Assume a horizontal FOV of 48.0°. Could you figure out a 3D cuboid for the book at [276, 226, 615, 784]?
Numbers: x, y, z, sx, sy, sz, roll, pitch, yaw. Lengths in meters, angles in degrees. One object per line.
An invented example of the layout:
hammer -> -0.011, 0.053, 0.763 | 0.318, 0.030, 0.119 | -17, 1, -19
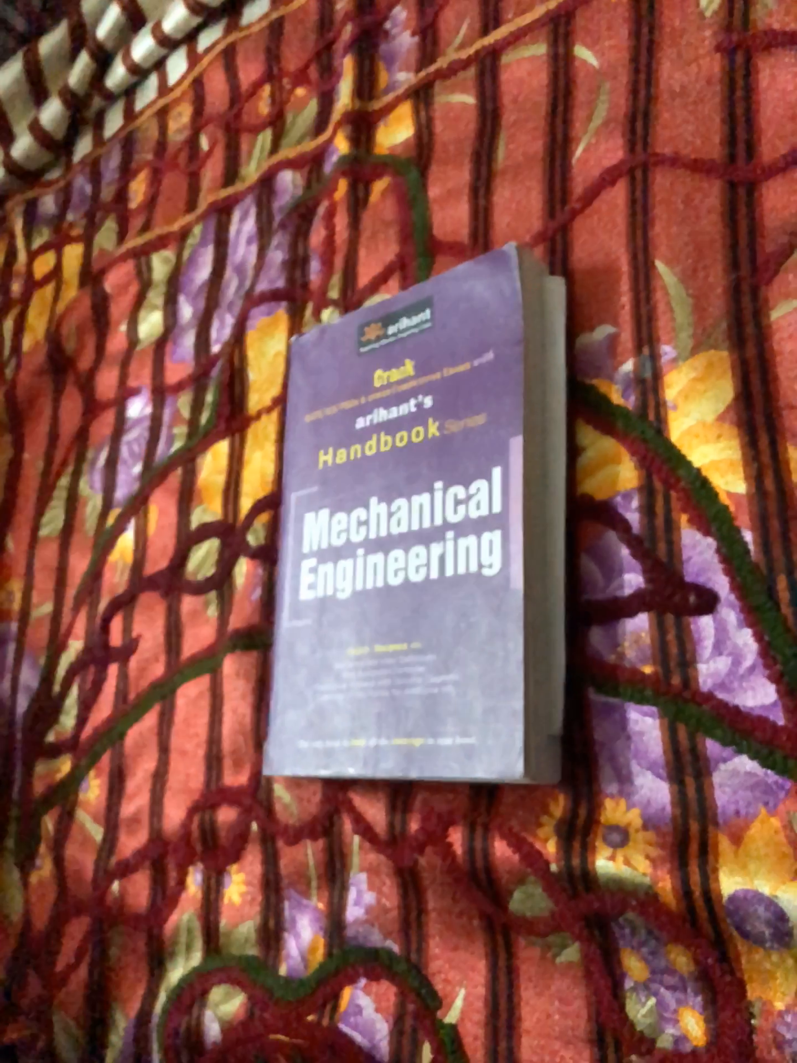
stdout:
book -> 0.018, -0.005, 0.413 | 0.148, 0.040, 0.231 | -12, 69, 37
